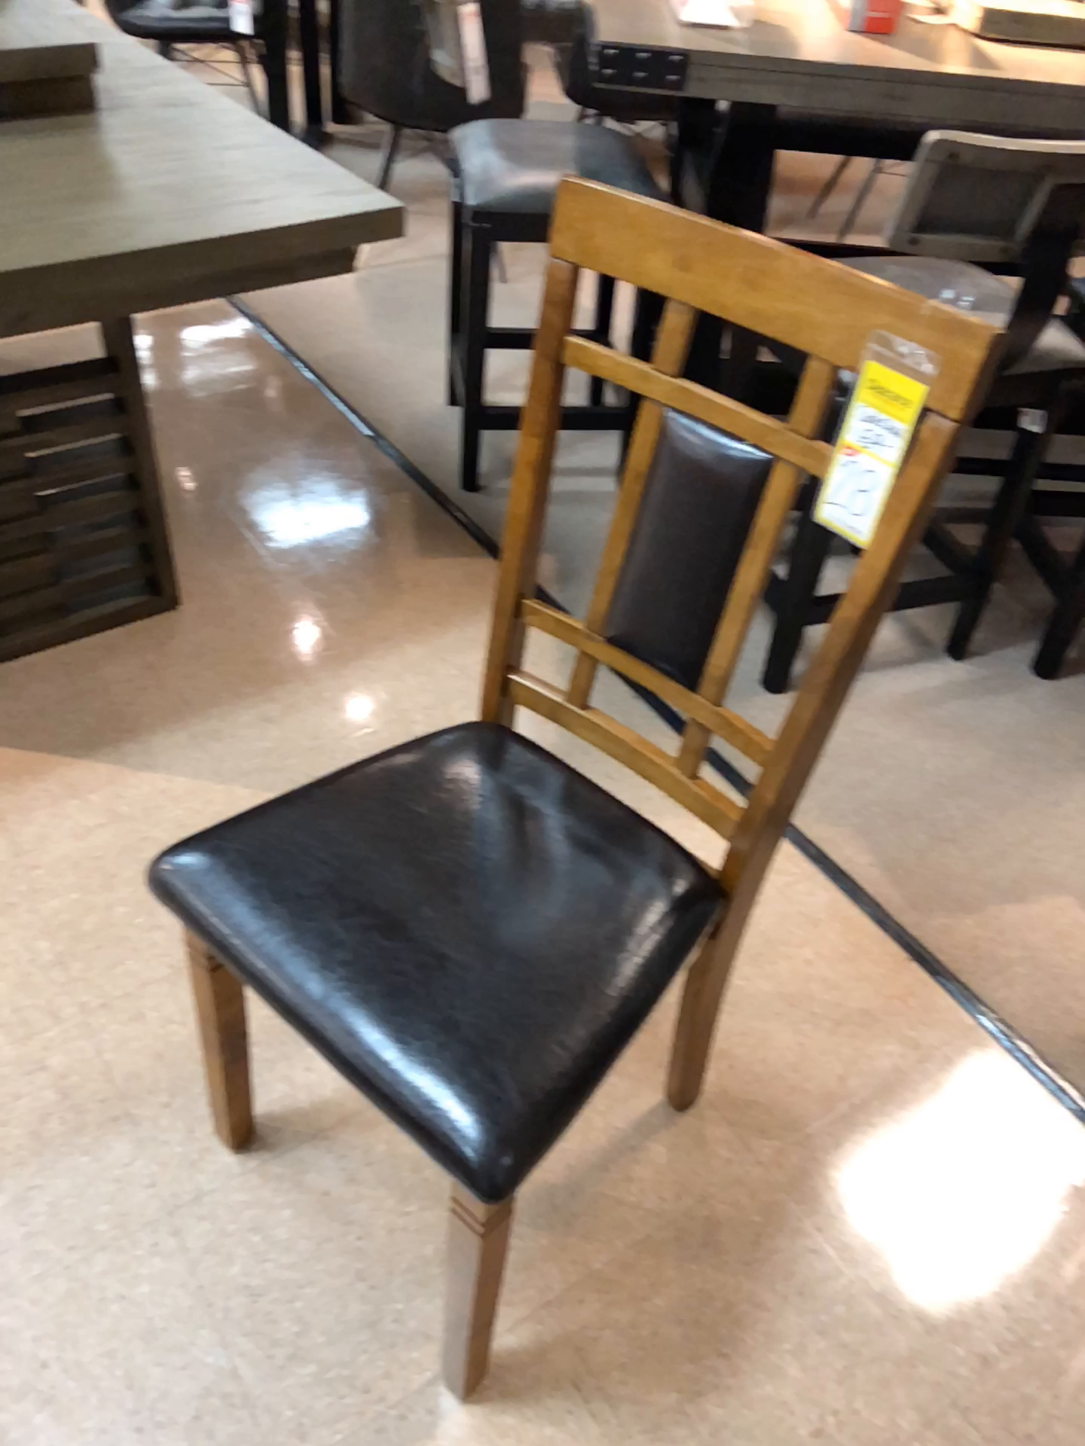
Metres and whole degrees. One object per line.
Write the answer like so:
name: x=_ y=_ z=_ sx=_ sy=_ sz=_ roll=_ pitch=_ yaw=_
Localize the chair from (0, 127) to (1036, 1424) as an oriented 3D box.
chair: x=-0.038 y=0.087 z=1.080 sx=0.452 sy=0.993 sz=0.502 roll=33 pitch=48 yaw=28
